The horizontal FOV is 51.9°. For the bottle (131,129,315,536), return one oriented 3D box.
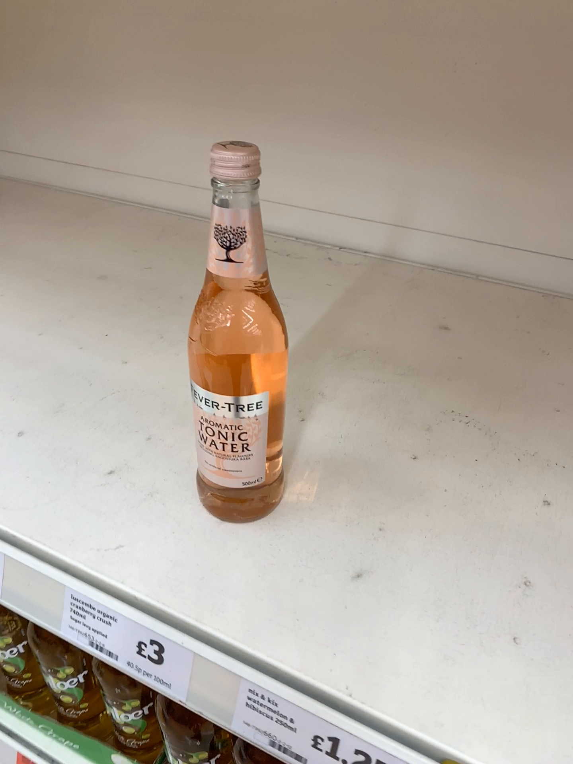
[{"bbox_3d":[-0.036,-0.022,0.388,0.078,0.253,0.068,13,35,16],"label":"bottle"}]
